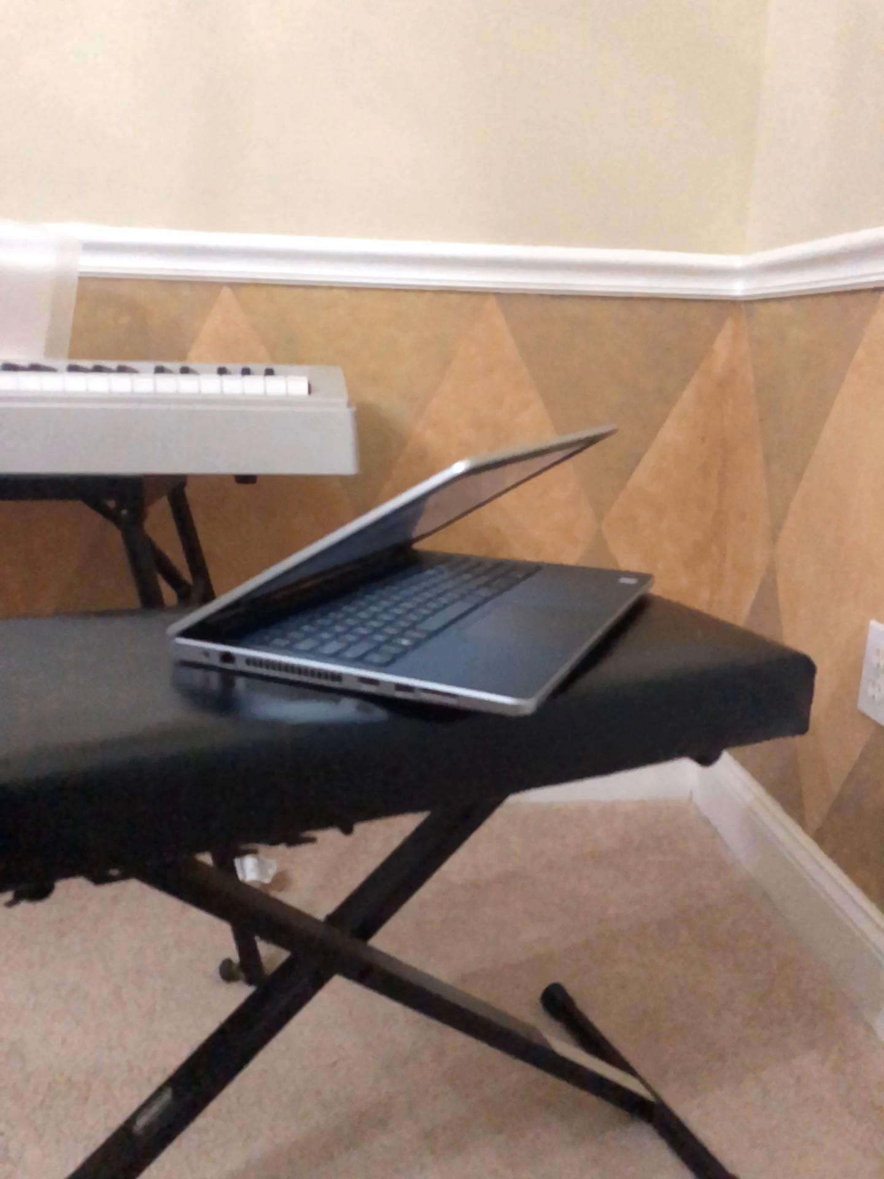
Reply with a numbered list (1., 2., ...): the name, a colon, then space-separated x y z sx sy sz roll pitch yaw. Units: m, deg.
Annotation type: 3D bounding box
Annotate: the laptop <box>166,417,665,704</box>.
1. laptop: 0.008 -0.053 0.784 0.261 0.137 0.376 8 15 22
